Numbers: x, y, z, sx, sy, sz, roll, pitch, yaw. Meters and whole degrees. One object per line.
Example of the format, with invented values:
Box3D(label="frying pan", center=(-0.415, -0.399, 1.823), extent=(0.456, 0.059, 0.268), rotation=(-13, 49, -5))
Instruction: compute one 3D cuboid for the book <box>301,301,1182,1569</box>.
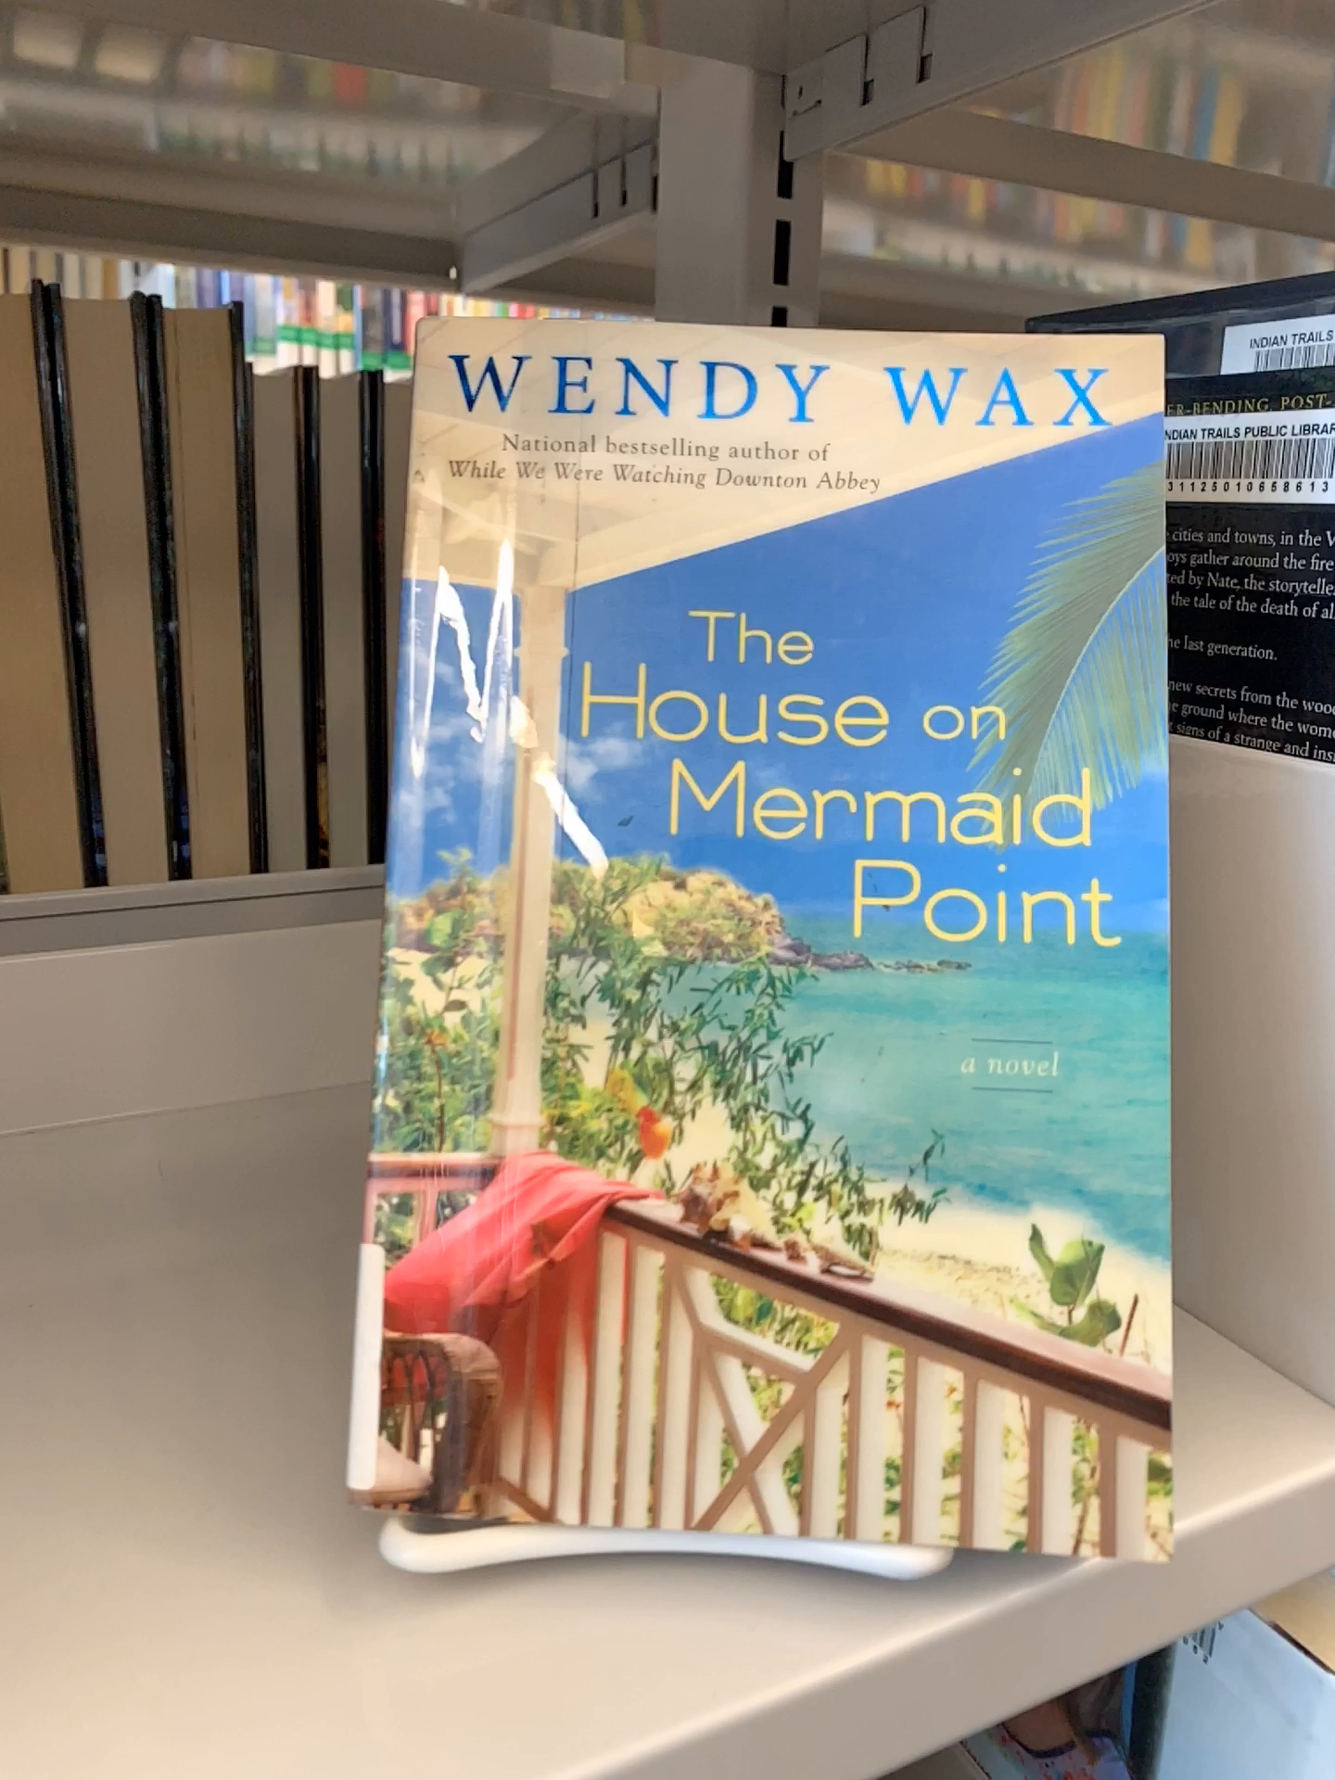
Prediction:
Box3D(label="book", center=(0.014, 0.003, 0.236), extent=(0.131, 0.193, 0.043), rotation=(2, -6, 3))
